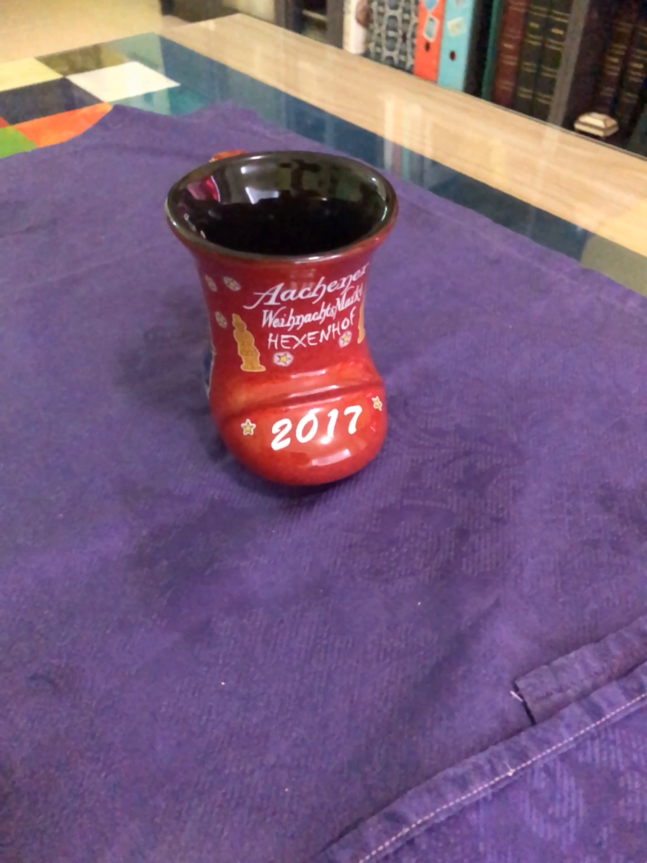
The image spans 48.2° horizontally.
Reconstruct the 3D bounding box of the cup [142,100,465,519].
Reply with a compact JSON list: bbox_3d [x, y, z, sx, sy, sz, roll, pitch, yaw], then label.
[{"bbox_3d":[-0.014,-0.050,0.264,0.070,0.090,0.120,-14,45,-14],"label":"cup"}]
